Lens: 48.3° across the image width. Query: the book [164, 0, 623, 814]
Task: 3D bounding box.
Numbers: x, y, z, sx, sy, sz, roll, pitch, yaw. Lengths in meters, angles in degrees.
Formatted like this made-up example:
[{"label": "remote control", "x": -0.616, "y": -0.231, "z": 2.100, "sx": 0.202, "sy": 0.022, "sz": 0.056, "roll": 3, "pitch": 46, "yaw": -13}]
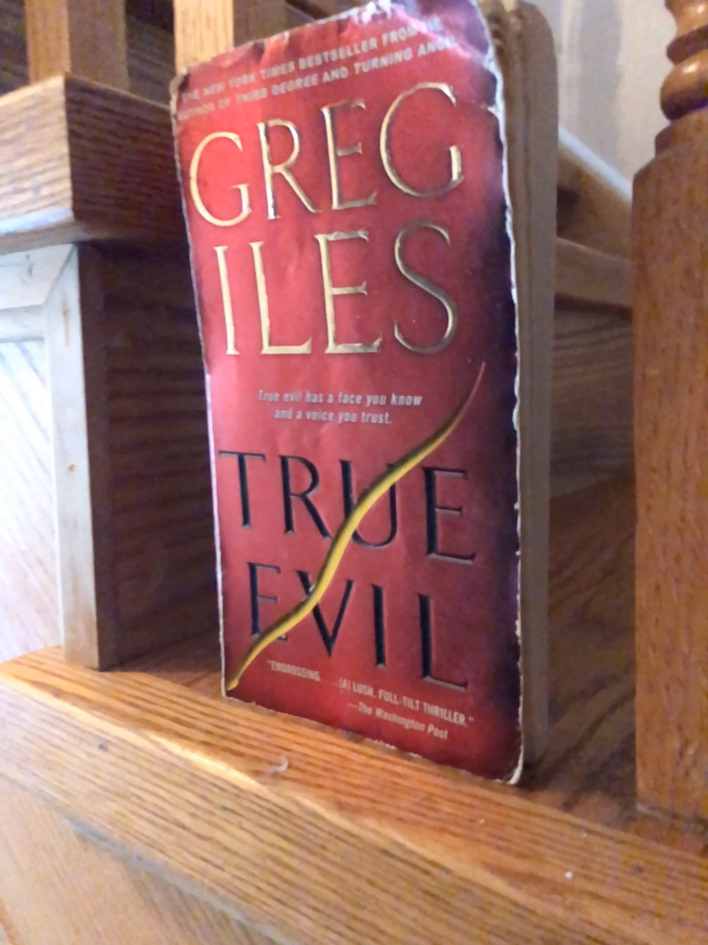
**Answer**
[{"label": "book", "x": 0.012, "y": -0.024, "z": 0.248, "sx": 0.120, "sy": 0.205, "sz": 0.068, "roll": 3, "pitch": 8, "yaw": 36}]
